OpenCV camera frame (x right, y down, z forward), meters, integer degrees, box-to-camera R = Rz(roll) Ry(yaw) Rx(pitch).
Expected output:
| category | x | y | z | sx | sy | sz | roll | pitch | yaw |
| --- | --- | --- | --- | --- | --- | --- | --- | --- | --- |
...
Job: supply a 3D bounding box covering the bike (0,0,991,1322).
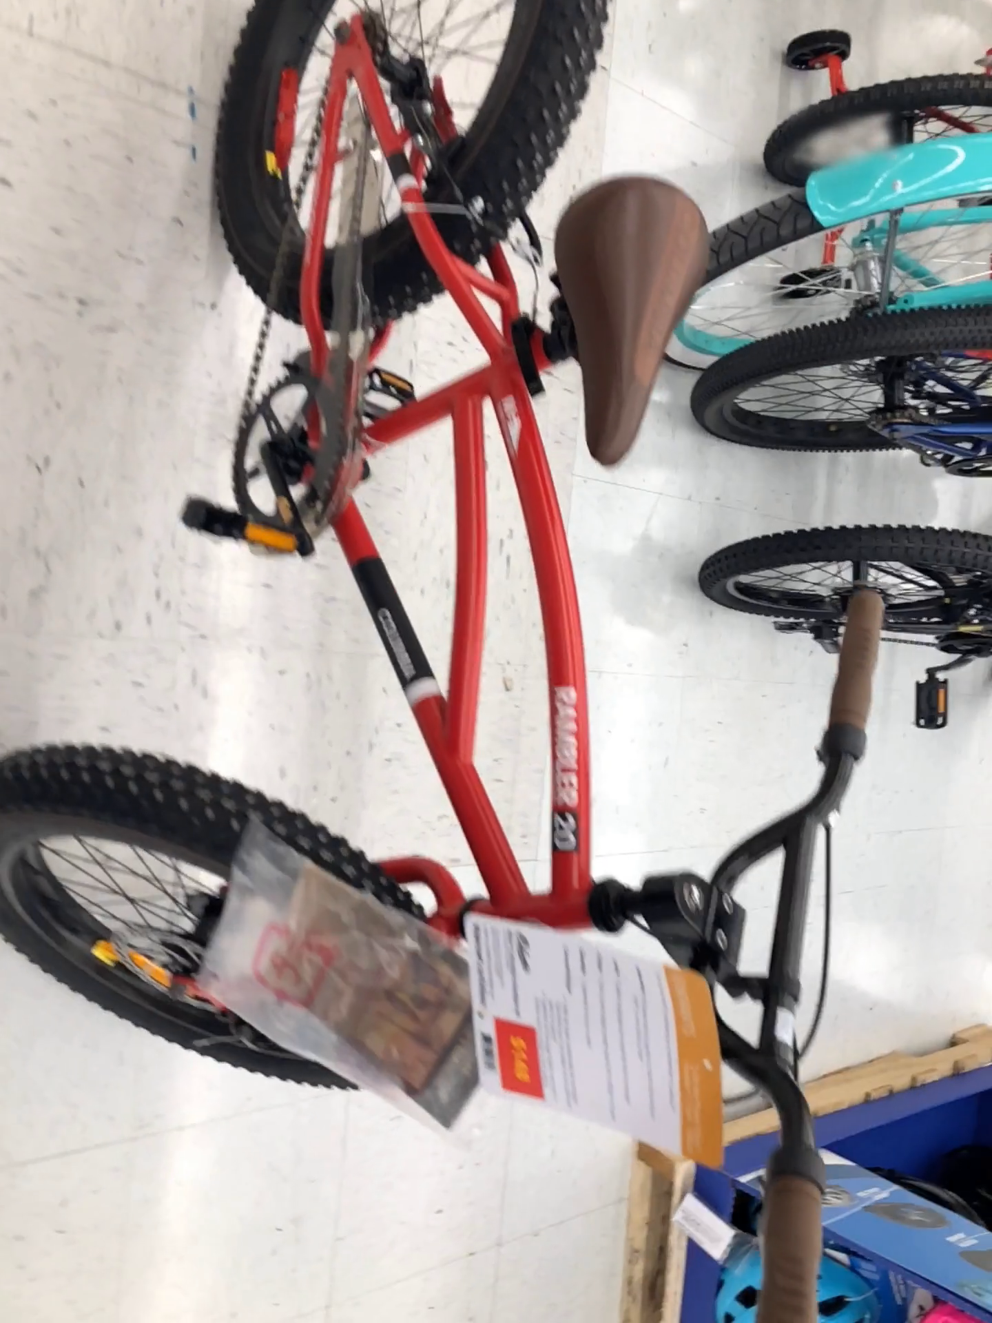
| category | x | y | z | sx | sy | sz | roll | pitch | yaw |
| --- | --- | --- | --- | --- | --- | --- | --- | --- | --- |
| bike | -0.038 | -0.177 | 1.027 | 0.610 | 0.969 | 1.356 | 3 | 95 | -38 |
